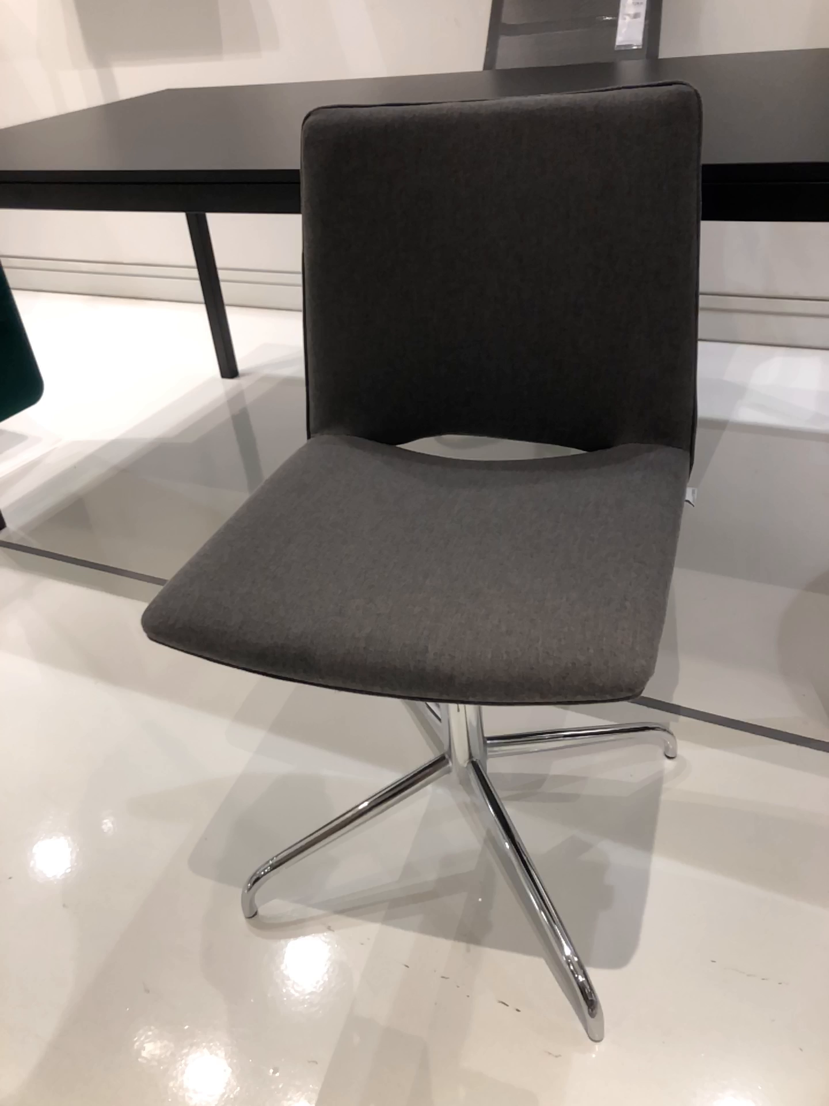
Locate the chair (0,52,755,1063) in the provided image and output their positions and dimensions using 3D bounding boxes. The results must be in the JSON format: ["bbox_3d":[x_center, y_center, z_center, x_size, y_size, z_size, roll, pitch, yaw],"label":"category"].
[{"bbox_3d":[0.049,-0.014,0.980,0.520,0.834,0.554,5,34,18],"label":"chair"}]
